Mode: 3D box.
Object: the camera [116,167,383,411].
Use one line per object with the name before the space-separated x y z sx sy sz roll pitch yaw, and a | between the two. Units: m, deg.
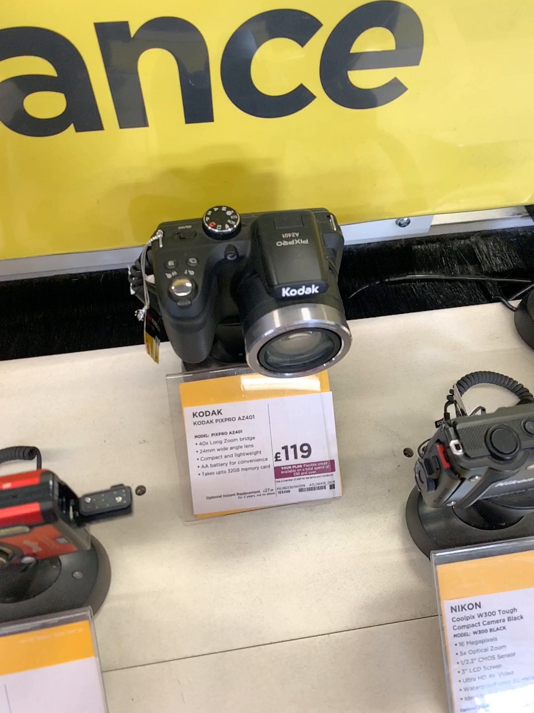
camera | -0.014 -0.039 0.334 0.130 0.099 0.091 -8 59 -6
